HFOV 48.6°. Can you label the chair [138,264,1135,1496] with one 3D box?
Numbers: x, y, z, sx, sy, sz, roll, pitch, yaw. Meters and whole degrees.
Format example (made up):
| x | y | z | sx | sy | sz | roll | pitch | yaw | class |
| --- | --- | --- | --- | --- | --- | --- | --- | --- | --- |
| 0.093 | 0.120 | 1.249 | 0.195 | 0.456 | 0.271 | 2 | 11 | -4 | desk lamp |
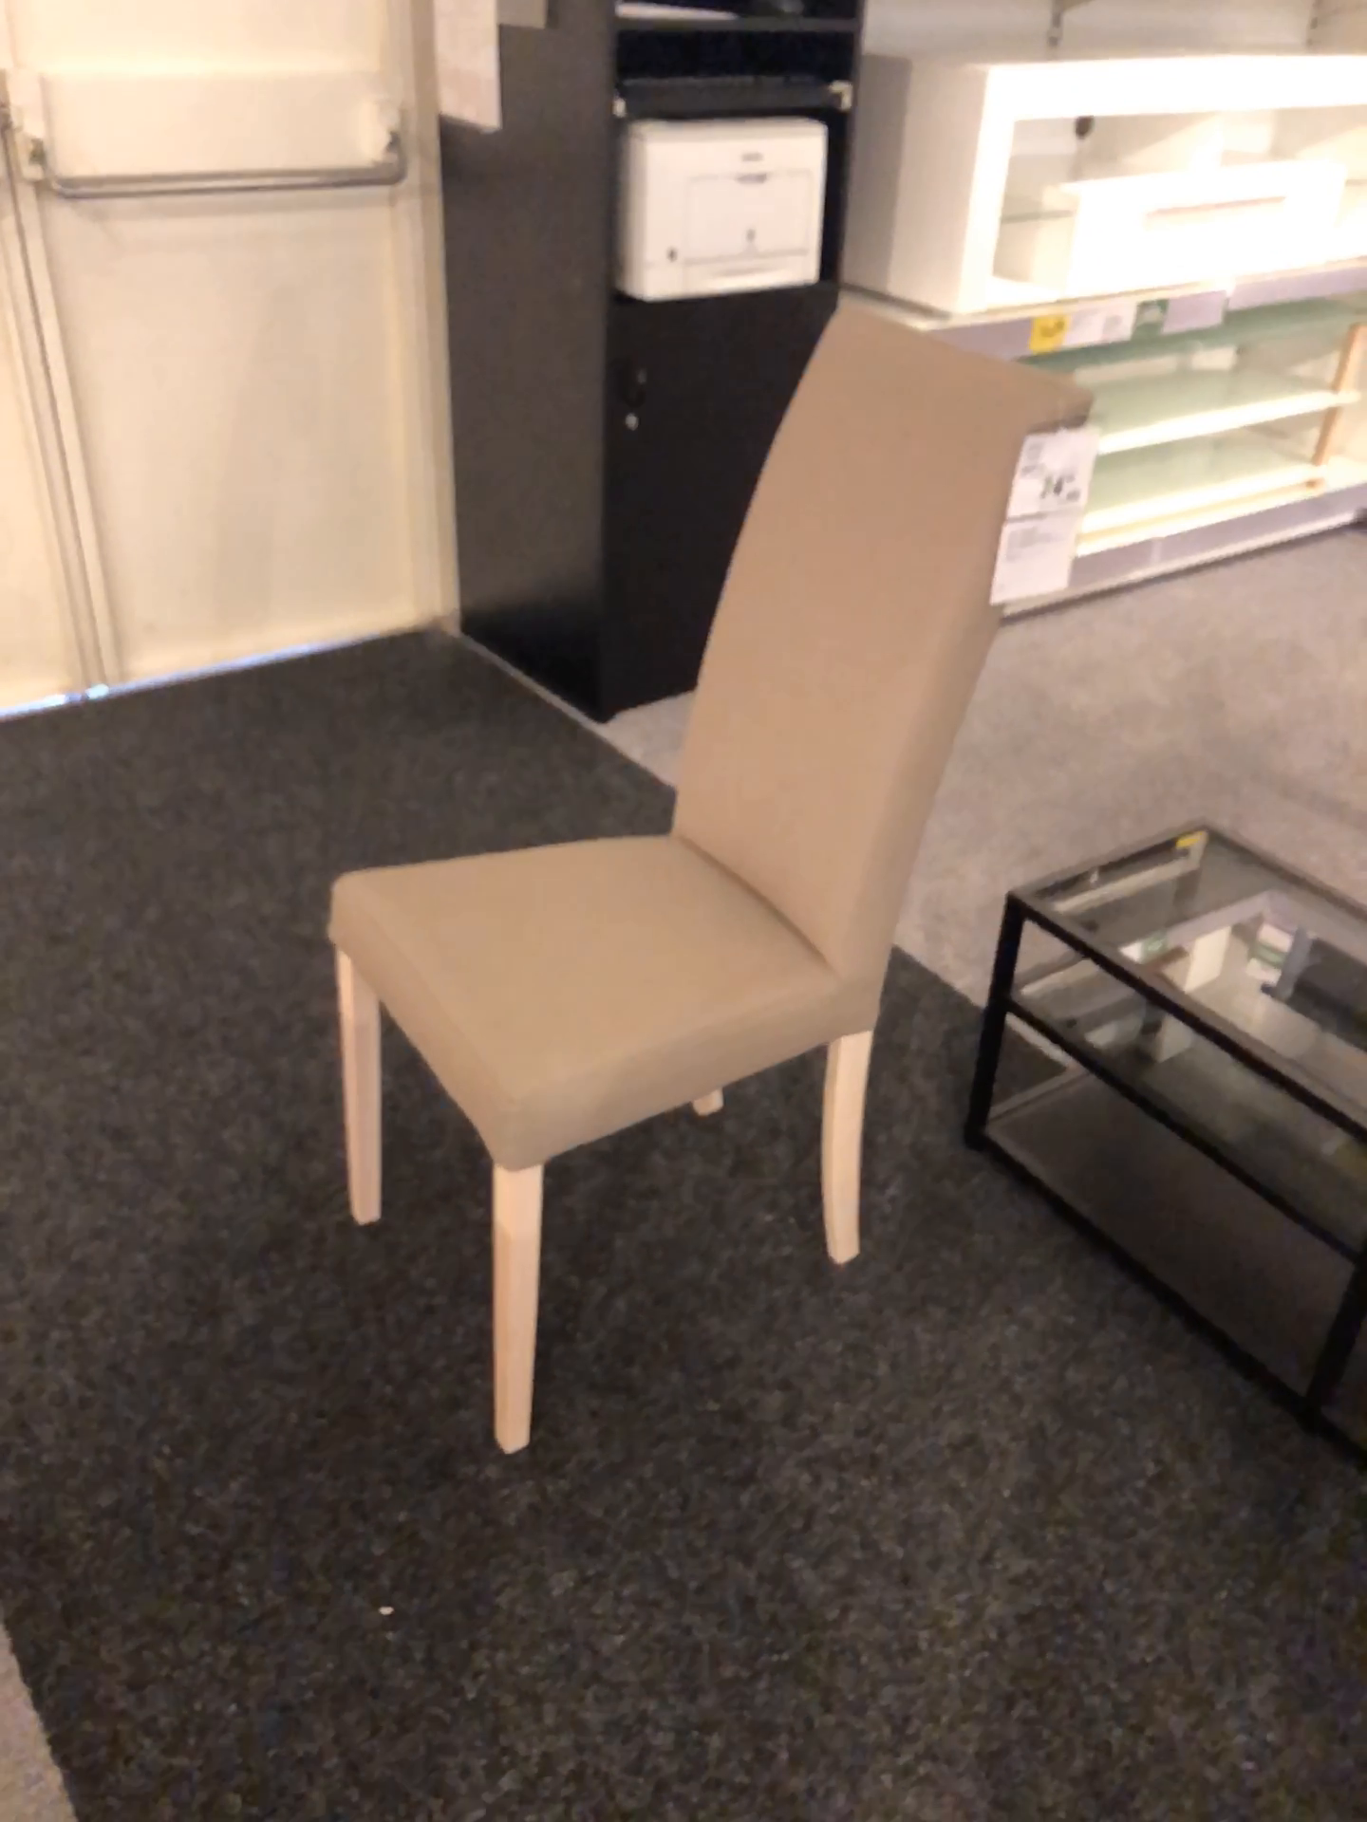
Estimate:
| x | y | z | sx | sy | sz | roll | pitch | yaw | class |
| --- | --- | --- | --- | --- | --- | --- | --- | --- | --- |
| -0.074 | -0.065 | 1.481 | 0.632 | 0.944 | 0.531 | -16 | 37 | -28 | chair |
